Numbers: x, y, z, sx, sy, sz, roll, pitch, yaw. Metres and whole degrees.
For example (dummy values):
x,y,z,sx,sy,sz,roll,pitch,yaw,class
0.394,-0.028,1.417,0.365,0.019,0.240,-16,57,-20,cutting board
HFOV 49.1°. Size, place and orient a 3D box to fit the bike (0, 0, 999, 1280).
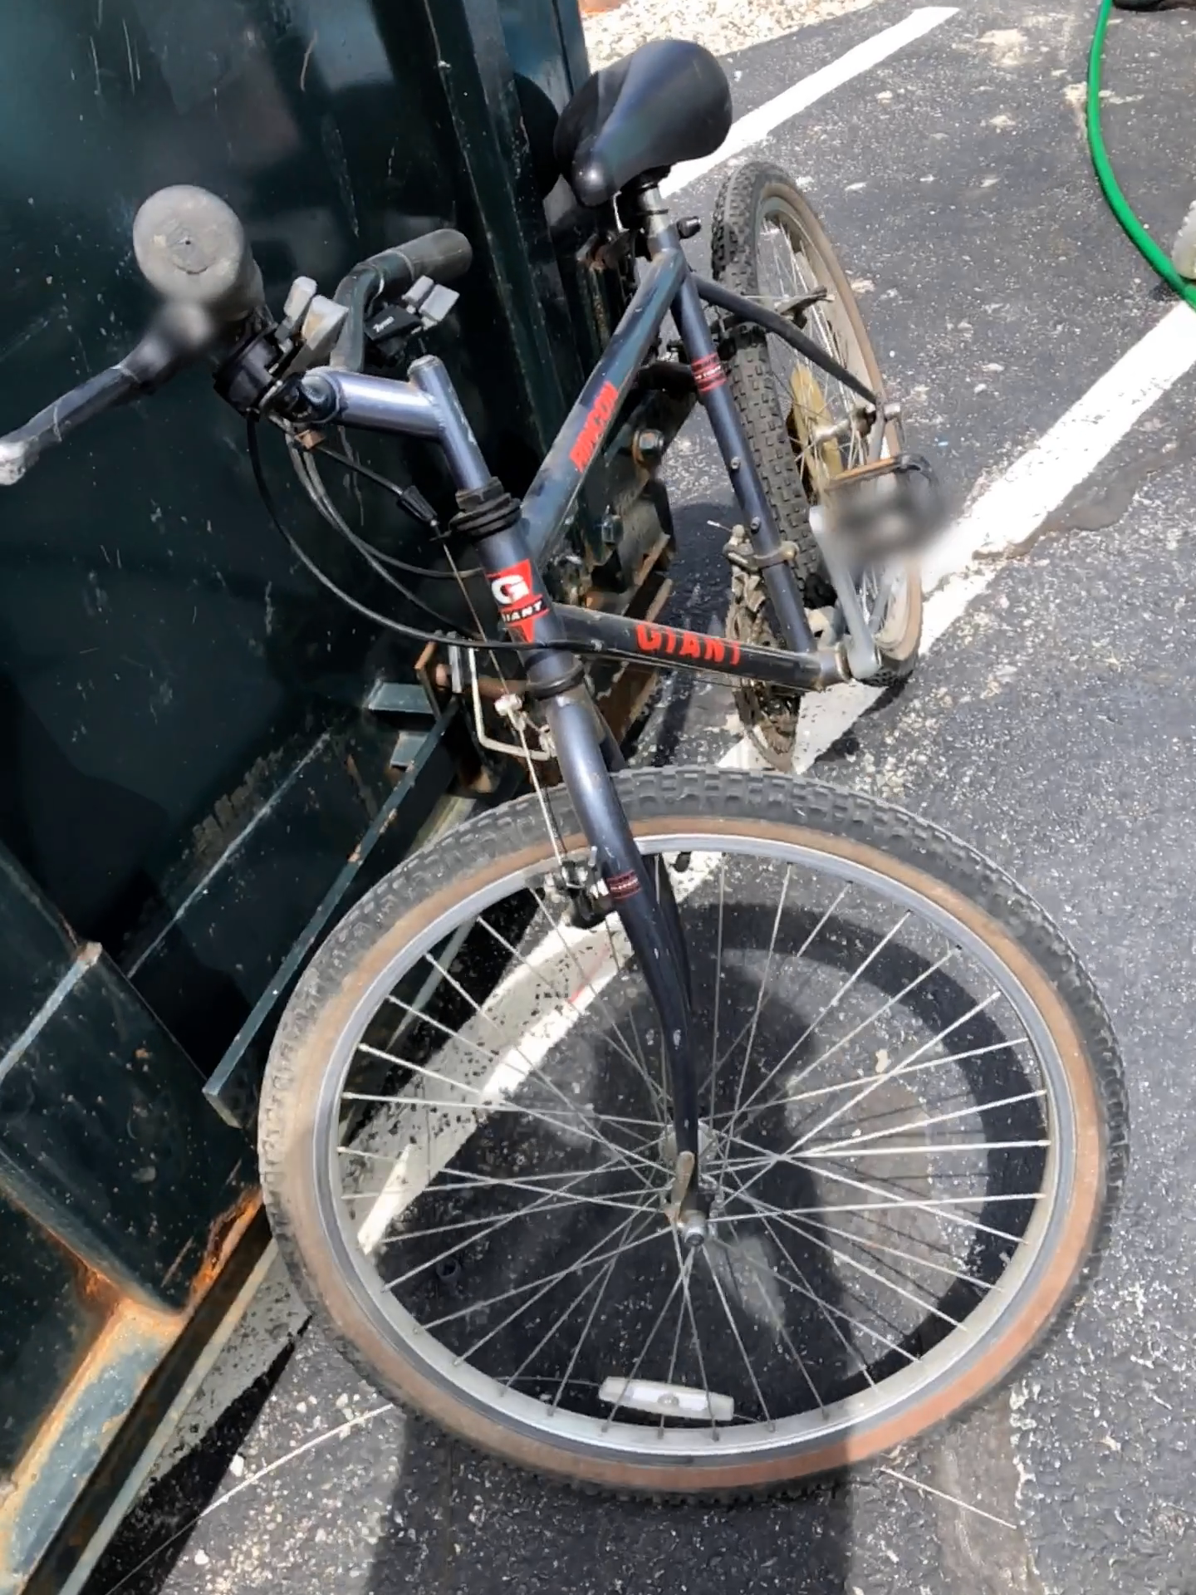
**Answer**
x,y,z,sx,sy,sz,roll,pitch,yaw,class
-0.213,-0.273,1.205,0.635,0.832,1.103,15,50,24,bike
